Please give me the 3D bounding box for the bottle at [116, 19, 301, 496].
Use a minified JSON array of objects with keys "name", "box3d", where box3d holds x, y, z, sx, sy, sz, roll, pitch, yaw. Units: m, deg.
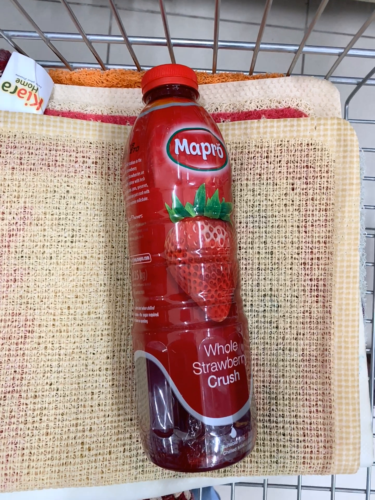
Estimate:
[{"name":"bottle","box3d":[0.012,0.003,0.256,0.090,0.070,0.250,-2,90,-29]}]
